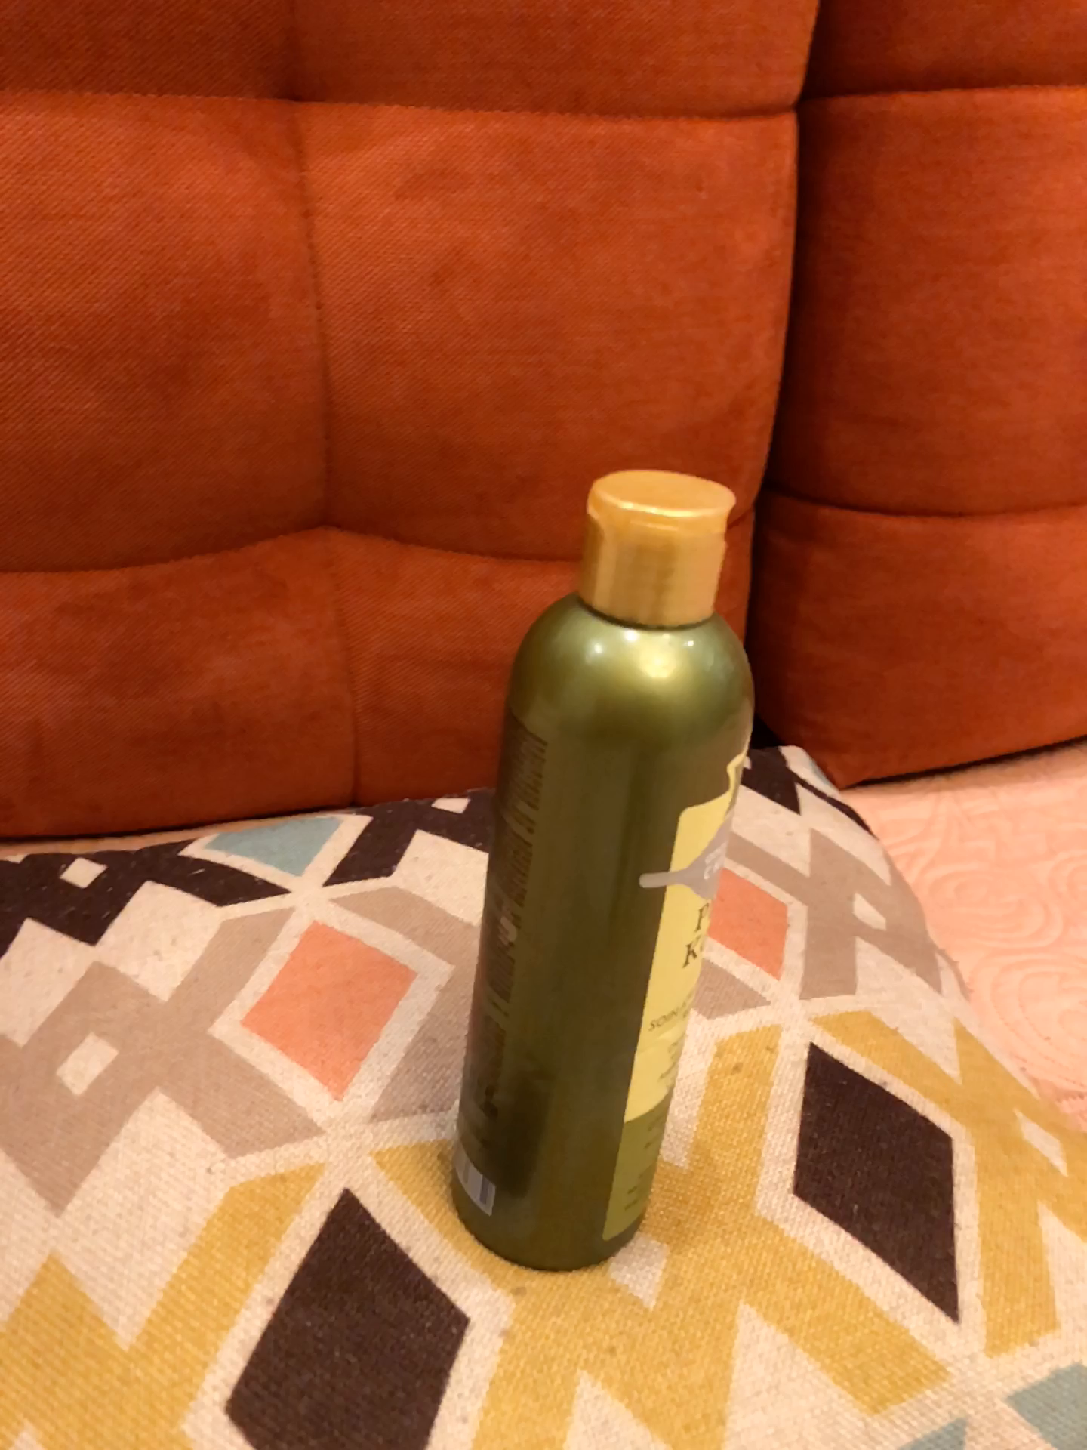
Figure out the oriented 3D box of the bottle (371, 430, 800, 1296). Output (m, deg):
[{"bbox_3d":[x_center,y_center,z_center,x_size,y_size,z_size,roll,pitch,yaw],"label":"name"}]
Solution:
[{"bbox_3d":[0.004,0.035,0.265,0.070,0.179,0.060,8,28,5],"label":"bottle"}]
